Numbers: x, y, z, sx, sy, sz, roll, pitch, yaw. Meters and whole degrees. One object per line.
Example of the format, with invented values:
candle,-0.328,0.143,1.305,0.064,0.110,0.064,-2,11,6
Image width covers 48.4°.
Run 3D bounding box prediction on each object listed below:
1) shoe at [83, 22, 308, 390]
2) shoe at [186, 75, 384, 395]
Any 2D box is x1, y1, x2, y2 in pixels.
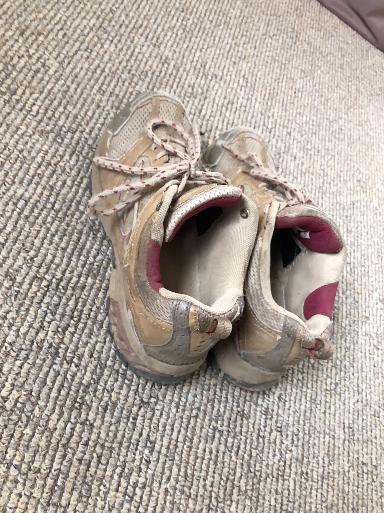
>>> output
shoe,-0.015,-0.039,0.369,0.111,0.118,0.270,6,63,-31
shoe,0.076,-0.018,0.422,0.112,0.123,0.272,14,59,-27
